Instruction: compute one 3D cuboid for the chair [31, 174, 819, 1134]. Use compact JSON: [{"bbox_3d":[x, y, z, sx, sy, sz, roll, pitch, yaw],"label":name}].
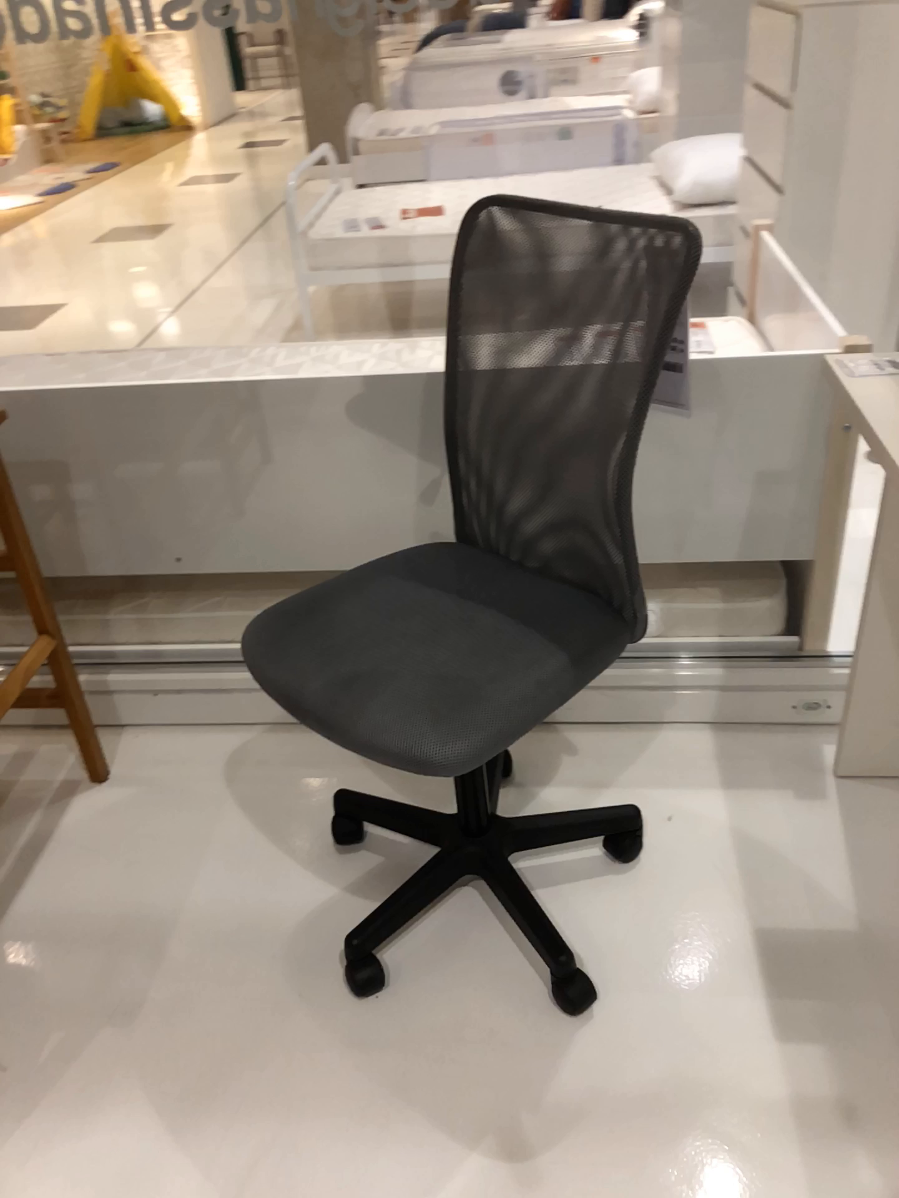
[{"bbox_3d":[0.008,0.019,1.286,0.582,0.933,0.602,25,43,39],"label":"chair"}]
